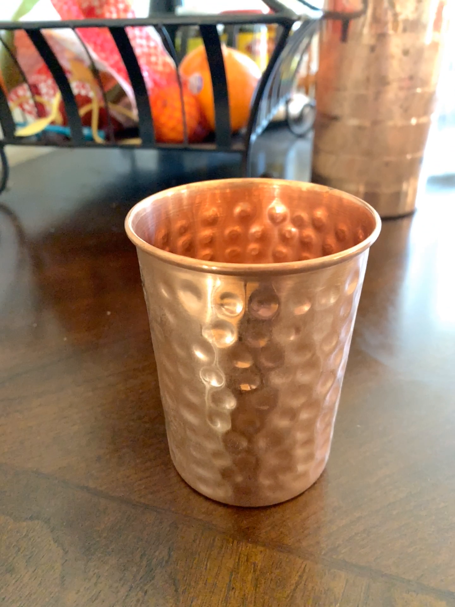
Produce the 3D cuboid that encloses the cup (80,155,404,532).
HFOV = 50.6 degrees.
[{"bbox_3d":[0.008,0.006,0.147,0.066,0.082,0.070,0,30,0],"label":"cup"}]
